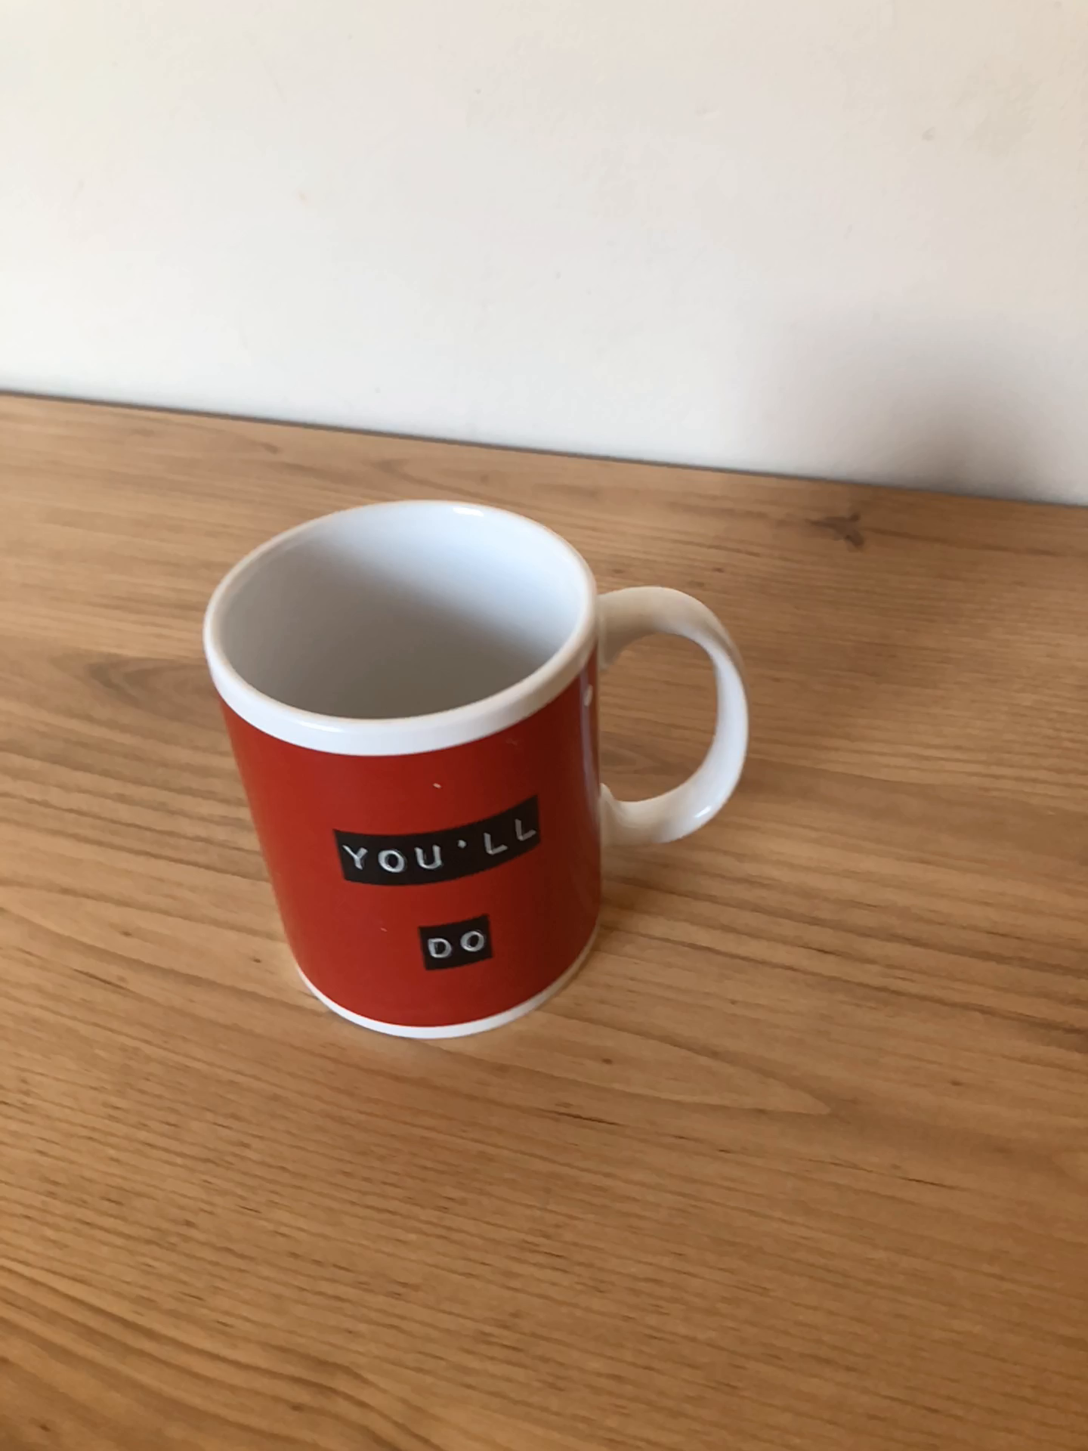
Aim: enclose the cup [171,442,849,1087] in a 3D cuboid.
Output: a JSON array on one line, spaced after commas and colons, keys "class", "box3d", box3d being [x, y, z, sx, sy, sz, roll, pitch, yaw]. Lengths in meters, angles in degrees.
[{"class": "cup", "box3d": [-0.012, 0.004, 0.277, 0.123, 0.086, 0.091, -11, 40, -9]}]
